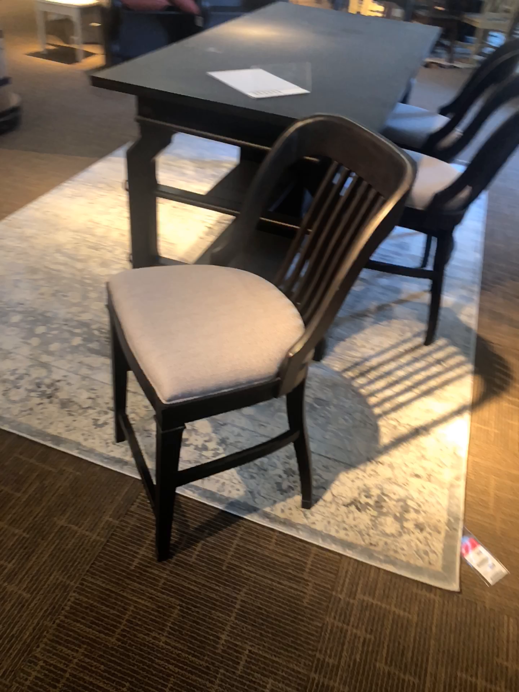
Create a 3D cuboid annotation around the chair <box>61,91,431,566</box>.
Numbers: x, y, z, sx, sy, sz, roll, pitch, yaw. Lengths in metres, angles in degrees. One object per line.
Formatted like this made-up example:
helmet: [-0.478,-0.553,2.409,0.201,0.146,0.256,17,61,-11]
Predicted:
chair: [-0.085,-0.031,1.410,0.571,0.985,0.482,-14,42,-23]
